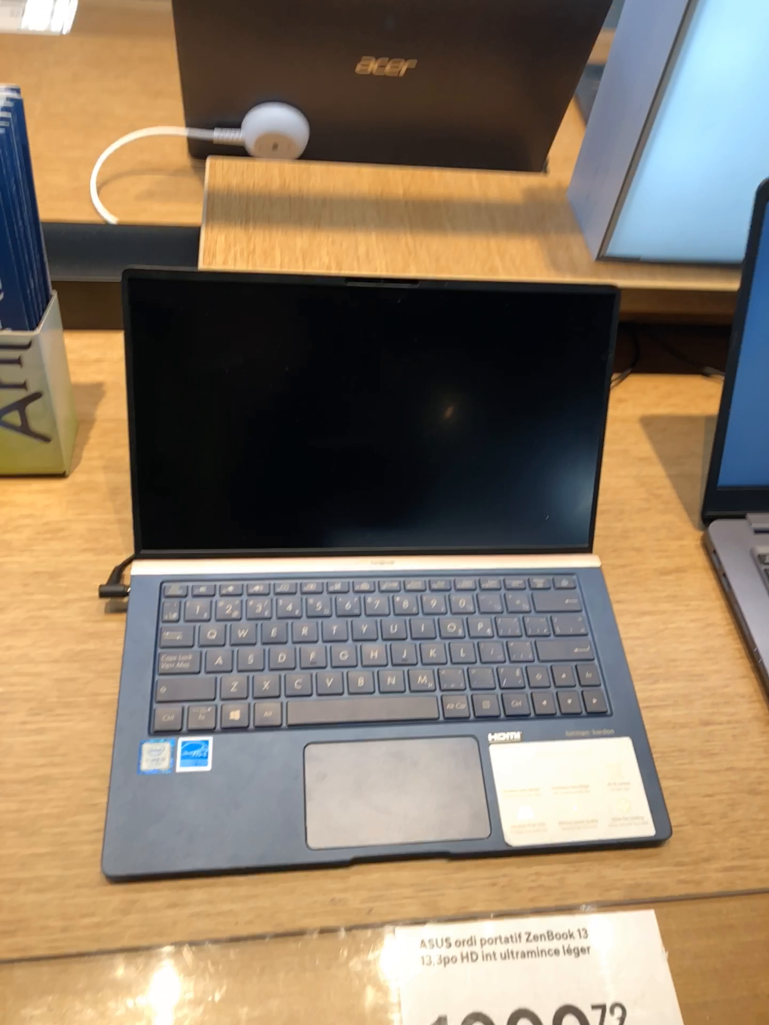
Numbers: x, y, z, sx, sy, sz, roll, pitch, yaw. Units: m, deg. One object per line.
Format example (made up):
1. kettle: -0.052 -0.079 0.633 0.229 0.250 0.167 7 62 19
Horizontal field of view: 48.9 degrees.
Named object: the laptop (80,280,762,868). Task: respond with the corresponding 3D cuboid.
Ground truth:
1. laptop: 0.008 0.020 0.466 0.276 0.130 0.277 0 55 -7
